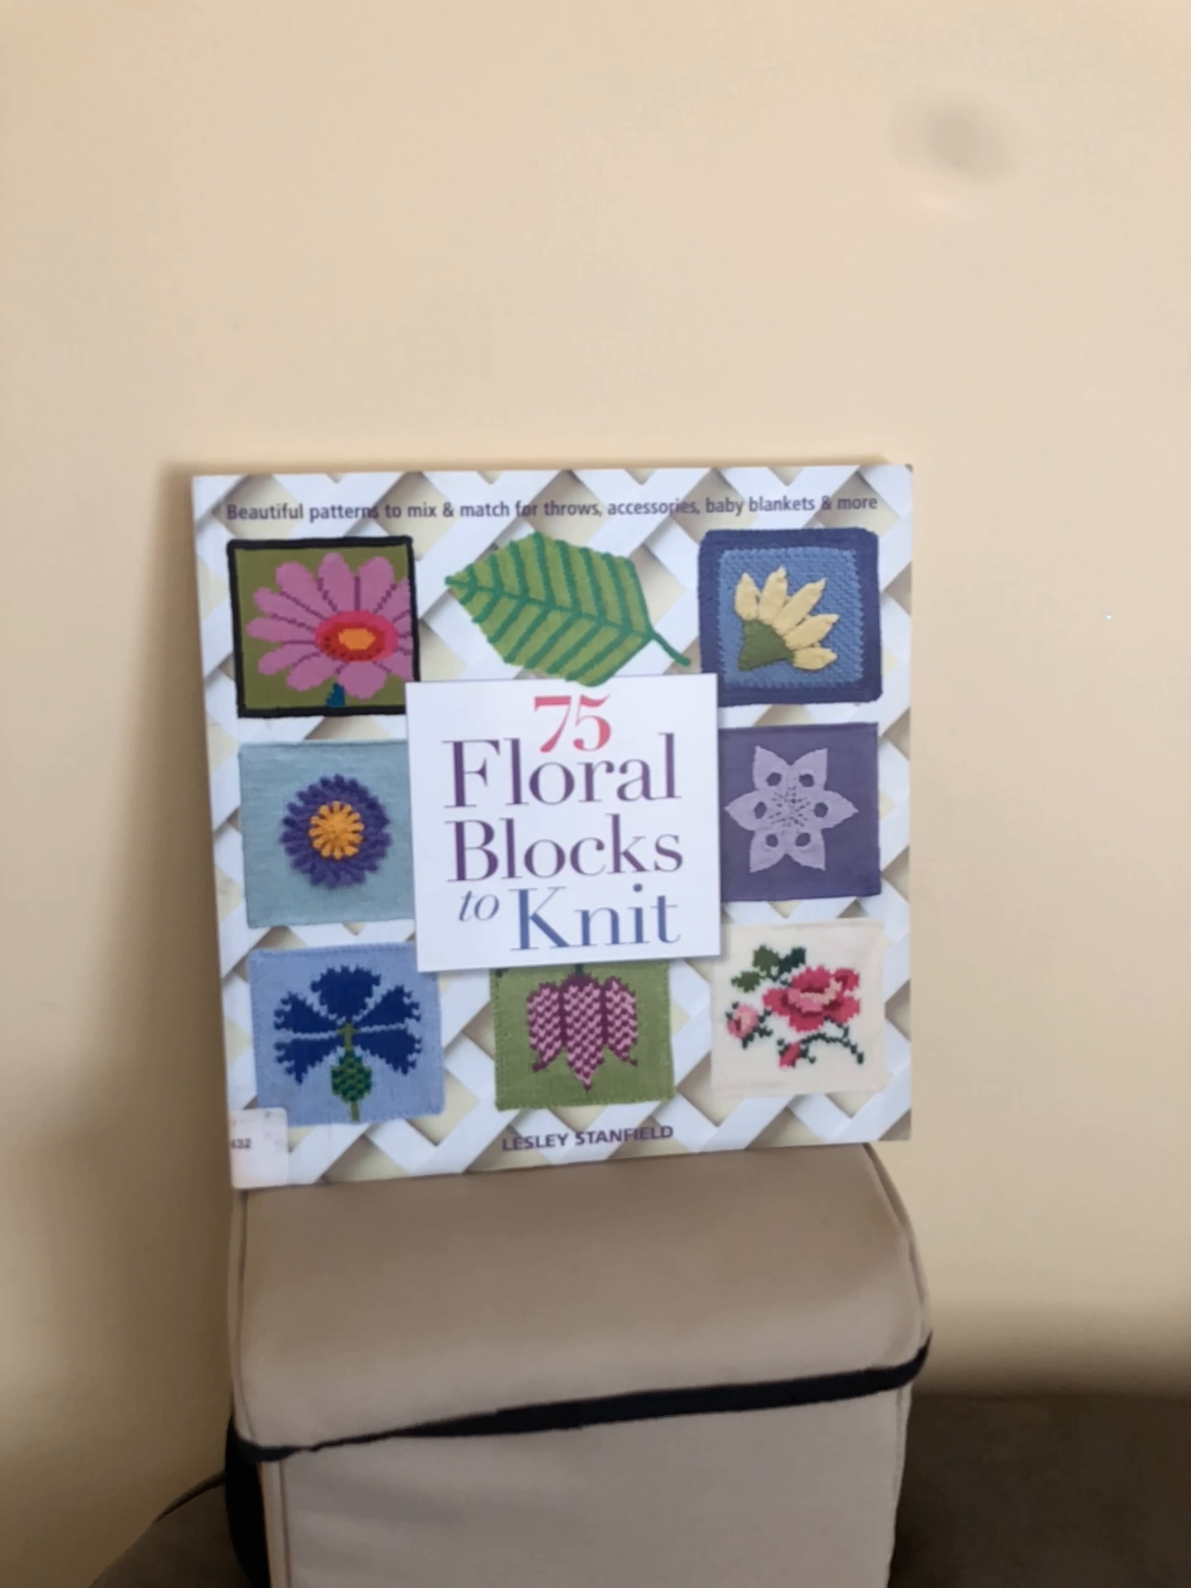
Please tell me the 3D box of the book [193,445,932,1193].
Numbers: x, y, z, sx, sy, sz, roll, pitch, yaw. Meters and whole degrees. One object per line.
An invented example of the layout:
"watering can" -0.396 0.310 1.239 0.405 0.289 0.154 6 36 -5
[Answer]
"book" -0.006 0.007 0.401 0.218 0.215 0.020 -1 5 -9
